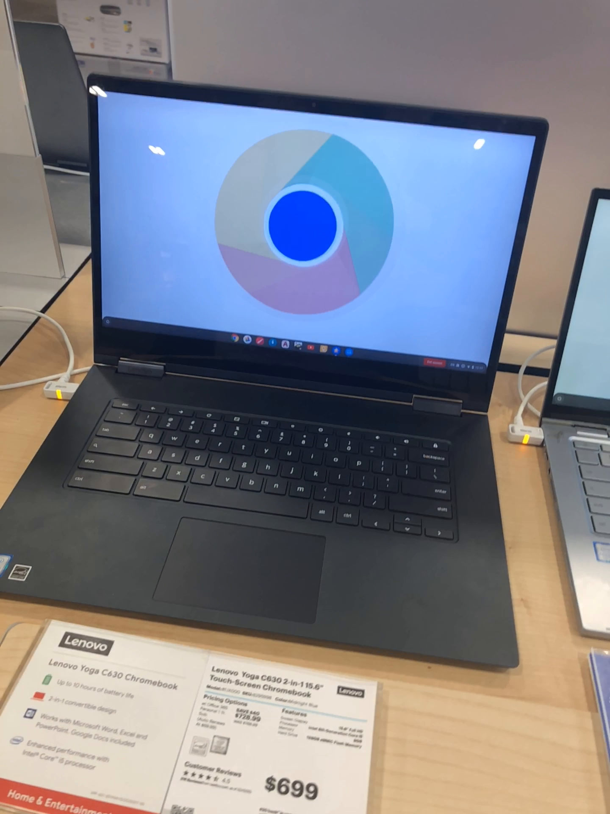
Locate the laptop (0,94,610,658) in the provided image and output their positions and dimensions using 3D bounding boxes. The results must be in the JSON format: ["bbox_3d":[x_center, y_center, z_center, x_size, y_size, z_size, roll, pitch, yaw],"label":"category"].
[{"bbox_3d":[-0.019,-0.045,0.457,0.343,0.230,0.293,7,38,5],"label":"laptop"}]
